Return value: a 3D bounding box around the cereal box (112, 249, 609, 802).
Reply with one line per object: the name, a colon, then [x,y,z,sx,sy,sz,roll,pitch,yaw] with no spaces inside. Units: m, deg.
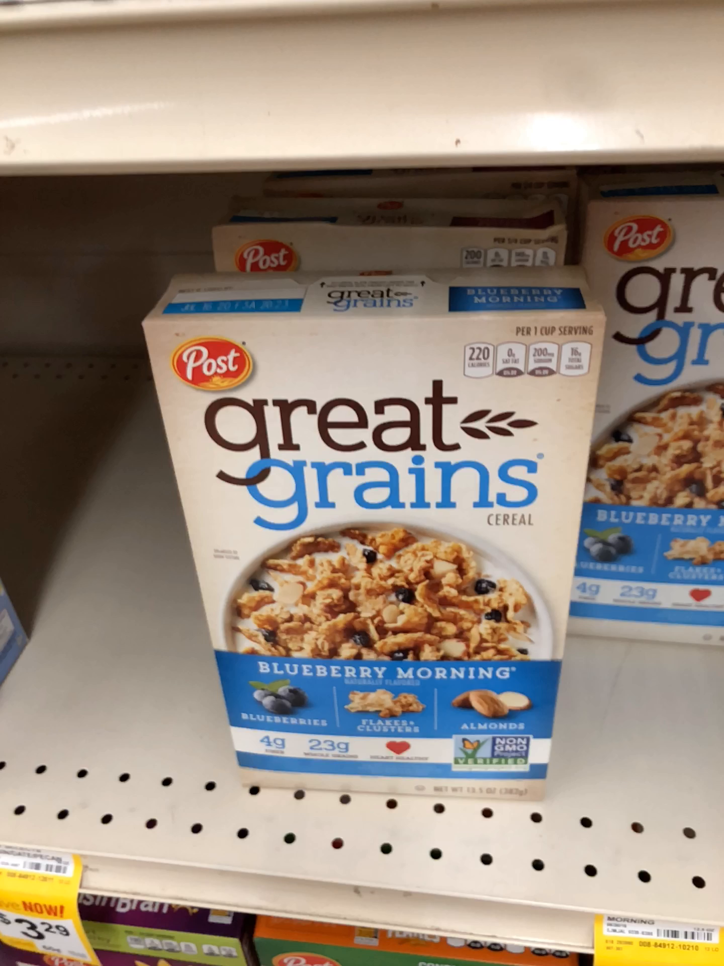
cereal box: [0.008,0.037,0.392,0.180,0.279,0.060,1,34,7]
